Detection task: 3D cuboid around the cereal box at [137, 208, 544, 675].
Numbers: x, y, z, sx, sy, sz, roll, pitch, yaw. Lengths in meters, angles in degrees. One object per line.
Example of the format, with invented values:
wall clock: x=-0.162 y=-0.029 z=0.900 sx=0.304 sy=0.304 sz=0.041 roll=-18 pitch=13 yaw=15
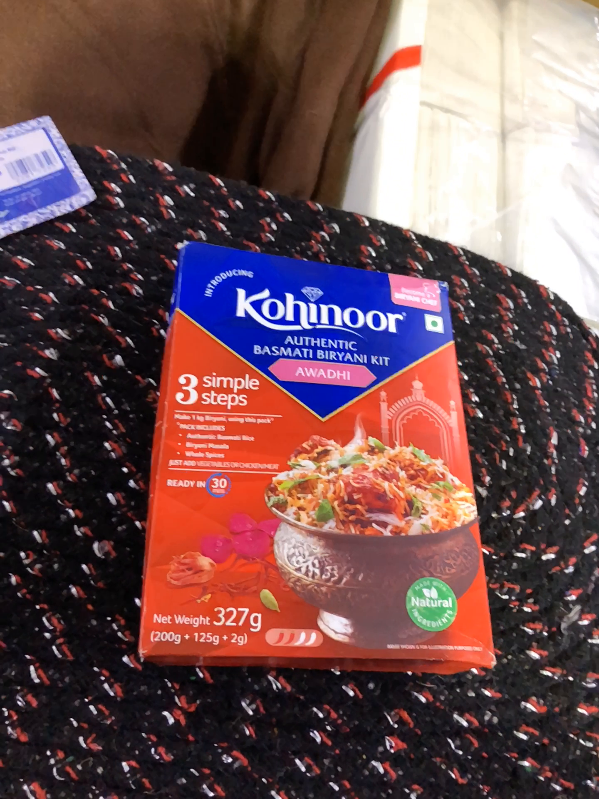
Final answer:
cereal box: x=0.015 y=0.015 z=0.277 sx=0.140 sy=0.040 sz=0.181 roll=5 pitch=66 yaw=-9
